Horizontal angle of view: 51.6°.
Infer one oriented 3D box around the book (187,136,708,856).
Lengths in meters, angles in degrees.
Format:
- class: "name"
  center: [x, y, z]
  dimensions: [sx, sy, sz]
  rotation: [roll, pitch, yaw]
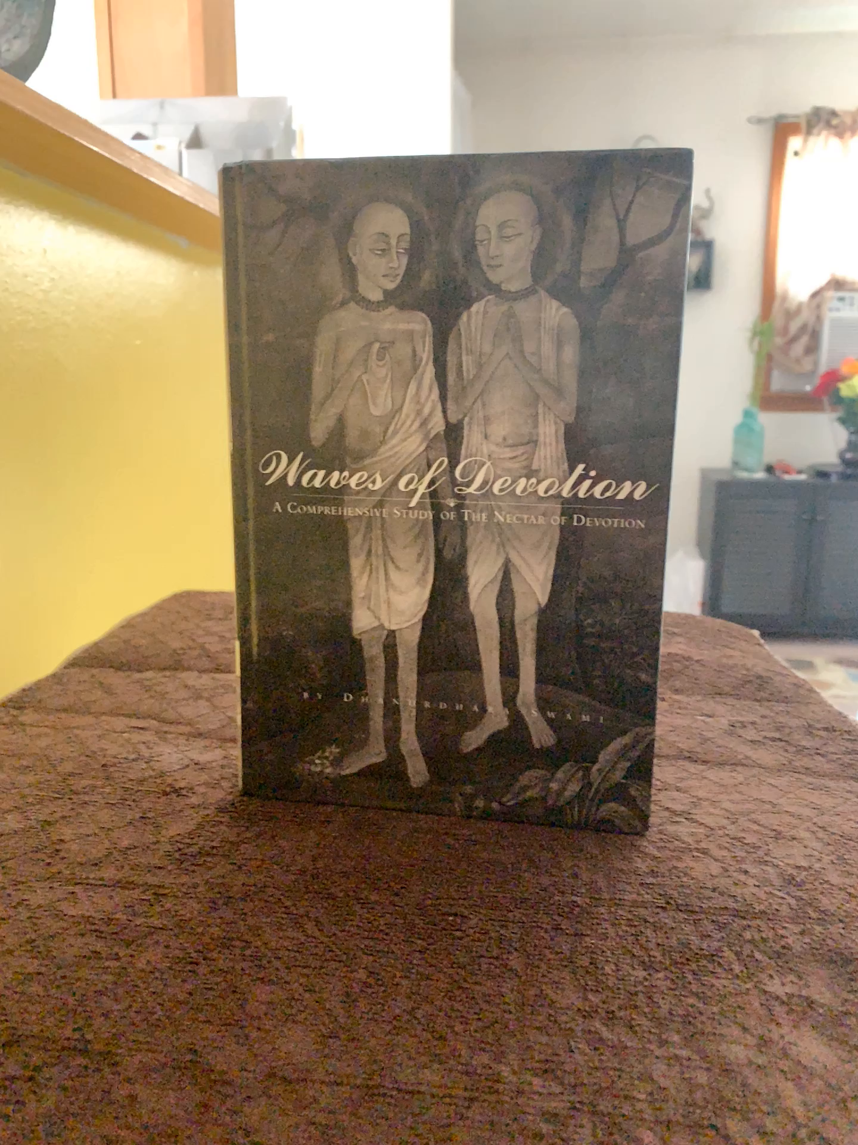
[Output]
- class: "book"
  center: [0.005, -0.022, 0.315]
  dimensions: [0.160, 0.229, 0.040]
  rotation: [3, 14, 11]
